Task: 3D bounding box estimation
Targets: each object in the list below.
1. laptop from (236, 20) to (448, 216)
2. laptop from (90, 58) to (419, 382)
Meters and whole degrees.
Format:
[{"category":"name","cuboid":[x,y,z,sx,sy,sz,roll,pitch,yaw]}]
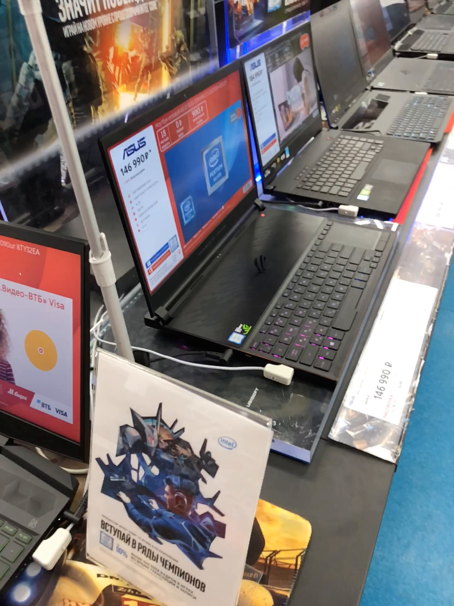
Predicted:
[{"category":"laptop","cuboid":[0.228,-0.385,0.979,0.301,0.219,0.343,17,43,23]},{"category":"laptop","cuboid":[0.063,-0.143,0.665,0.278,0.241,0.351,15,41,21]}]
